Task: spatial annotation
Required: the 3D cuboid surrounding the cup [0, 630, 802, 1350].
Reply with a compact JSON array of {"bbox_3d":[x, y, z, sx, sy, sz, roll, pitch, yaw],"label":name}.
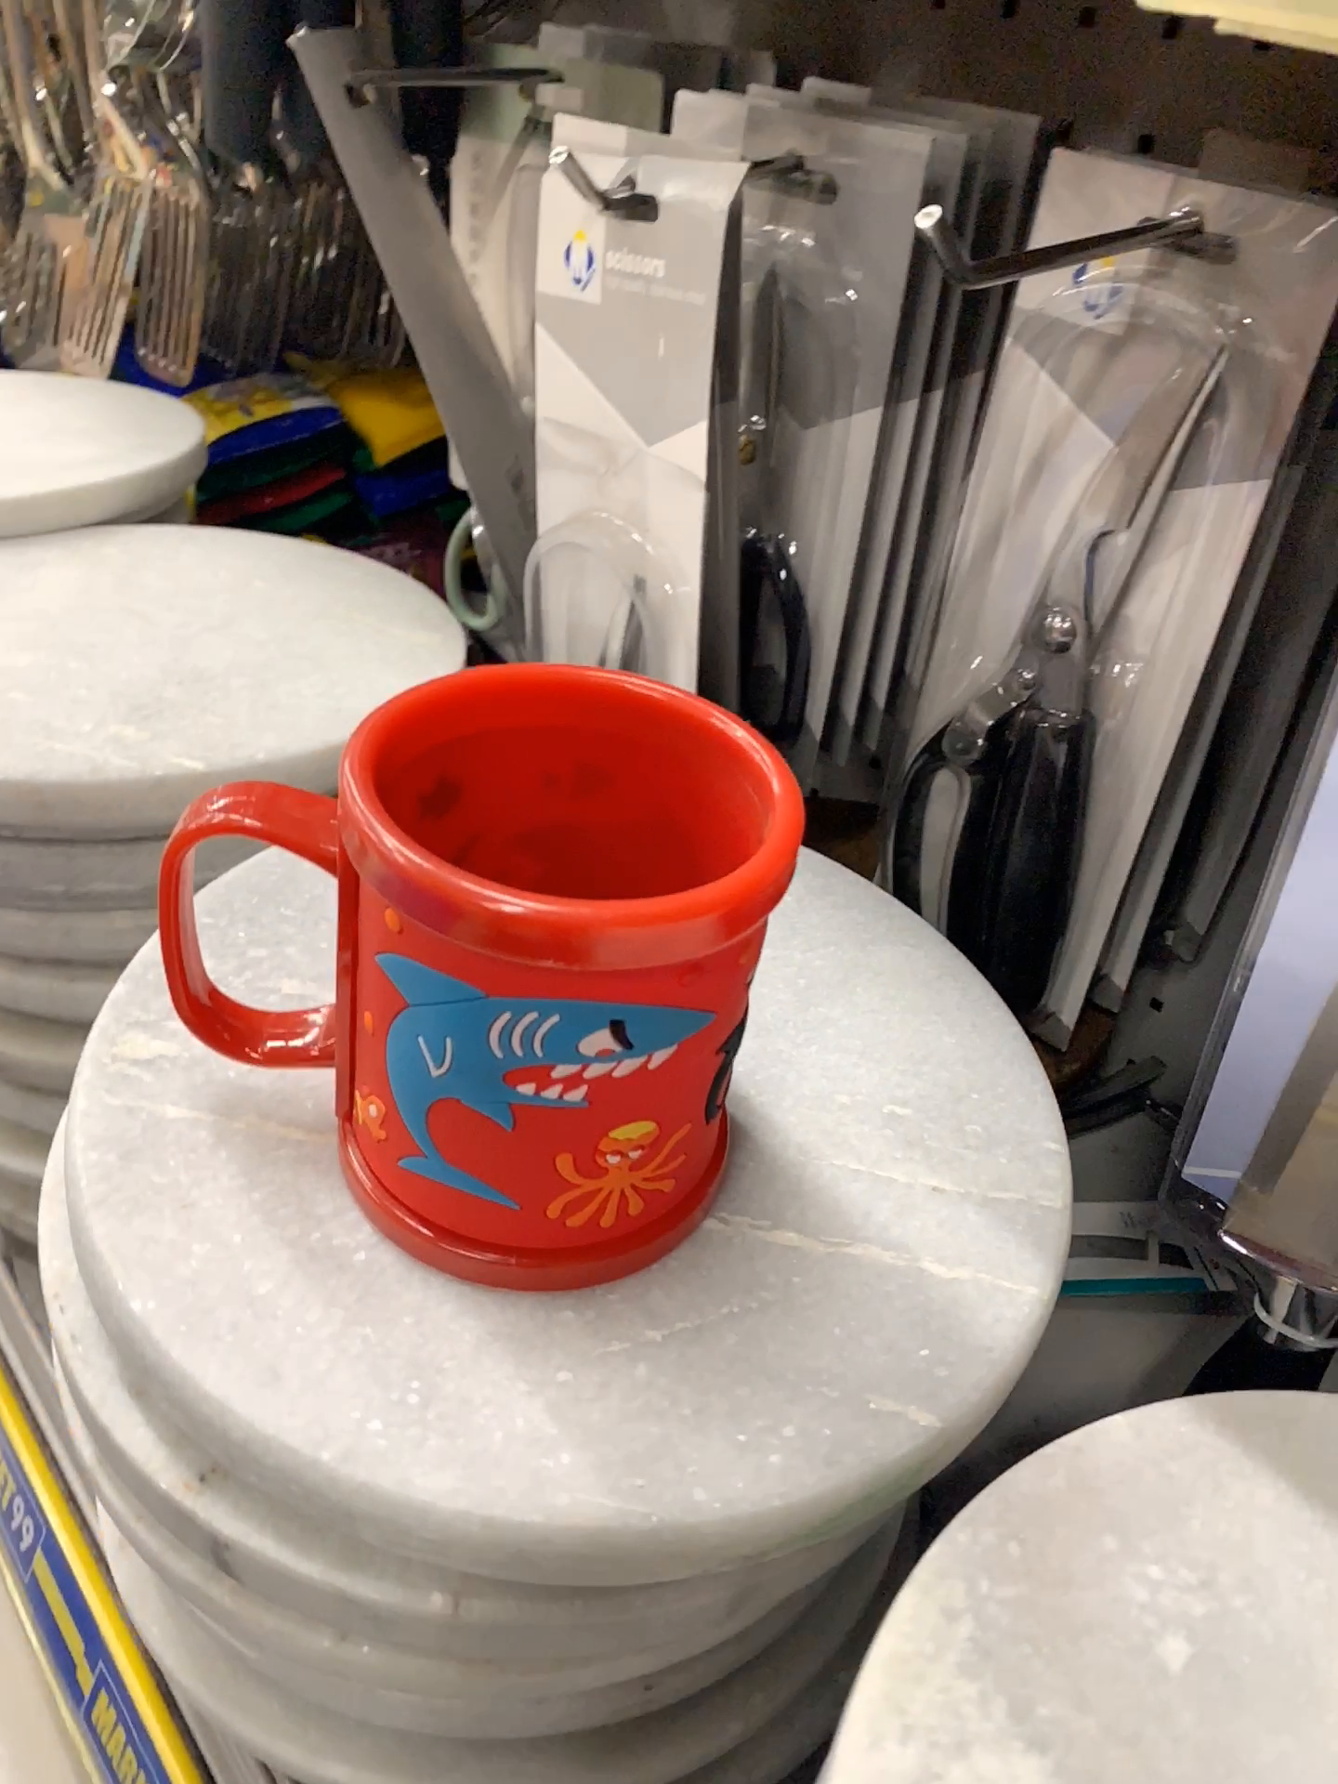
[{"bbox_3d":[-0.043,0.018,0.265,0.120,0.100,0.080,5,34,-1],"label":"cup"}]
